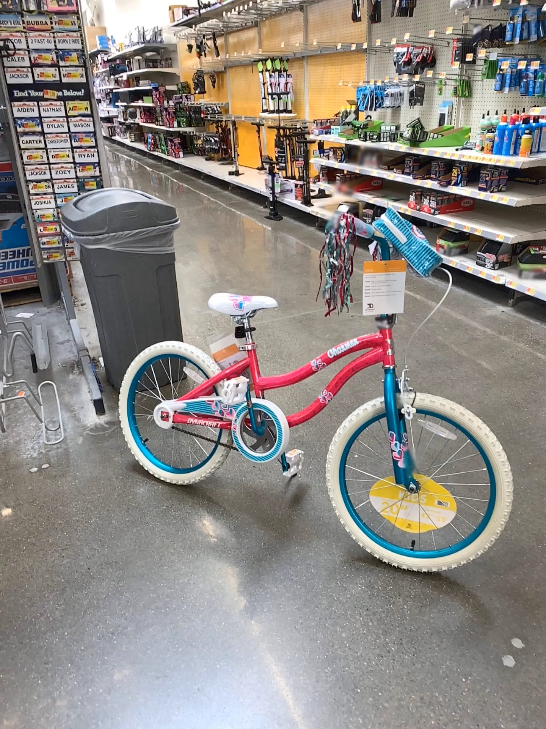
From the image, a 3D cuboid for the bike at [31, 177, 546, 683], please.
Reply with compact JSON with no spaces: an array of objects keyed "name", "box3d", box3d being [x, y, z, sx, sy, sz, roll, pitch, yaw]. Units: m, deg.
[{"name":"bike","box3d":[0.050,0.045,1.676,1.260,0.930,0.656,14,29,23]}]
